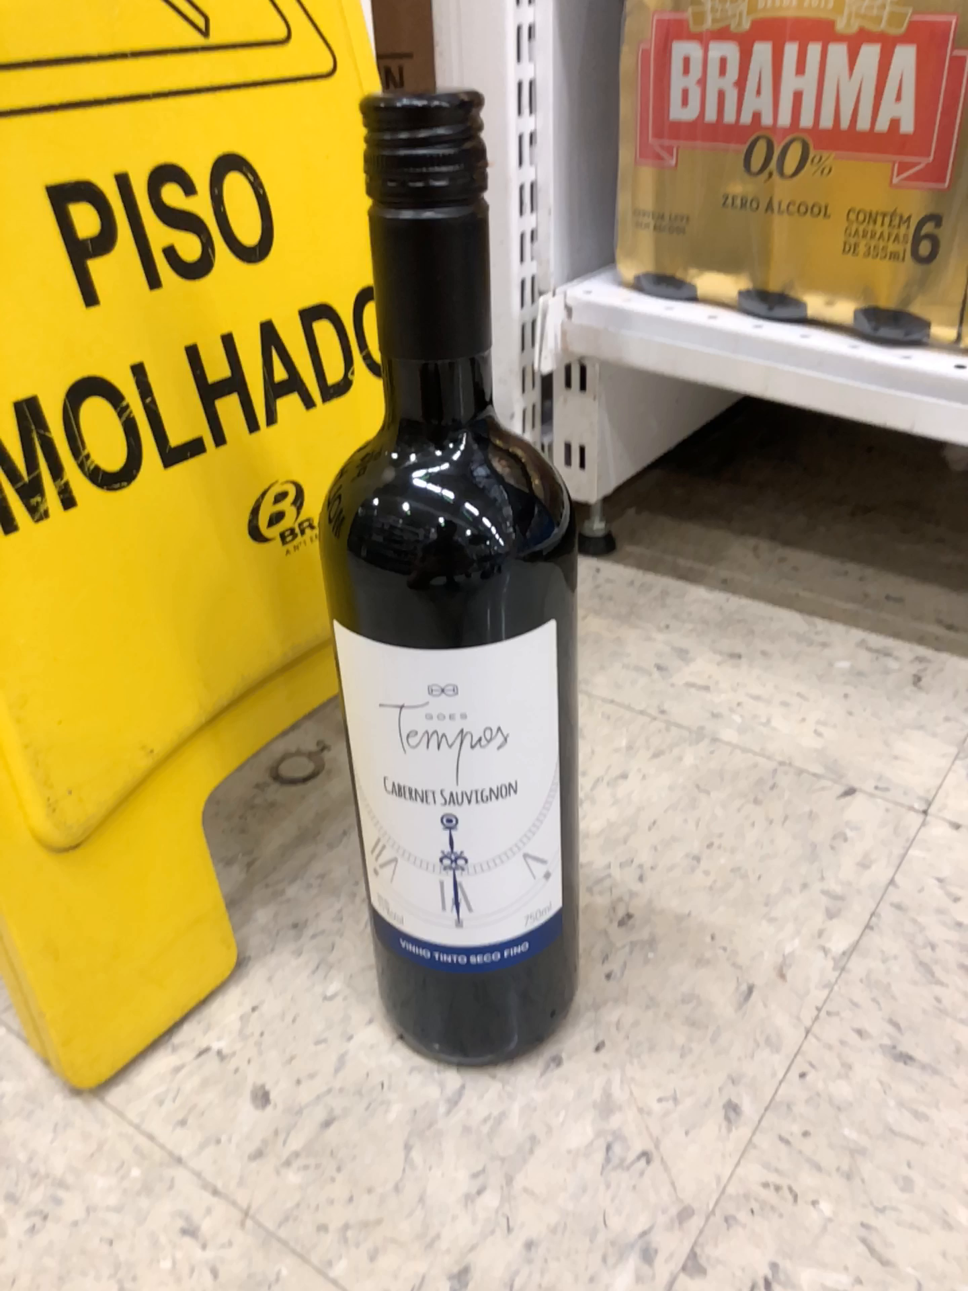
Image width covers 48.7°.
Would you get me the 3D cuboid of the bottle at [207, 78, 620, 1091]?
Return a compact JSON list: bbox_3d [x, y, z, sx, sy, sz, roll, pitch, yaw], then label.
[{"bbox_3d":[-0.005,0.003,0.310,0.080,0.288,0.071,1,31,7],"label":"bottle"}]
